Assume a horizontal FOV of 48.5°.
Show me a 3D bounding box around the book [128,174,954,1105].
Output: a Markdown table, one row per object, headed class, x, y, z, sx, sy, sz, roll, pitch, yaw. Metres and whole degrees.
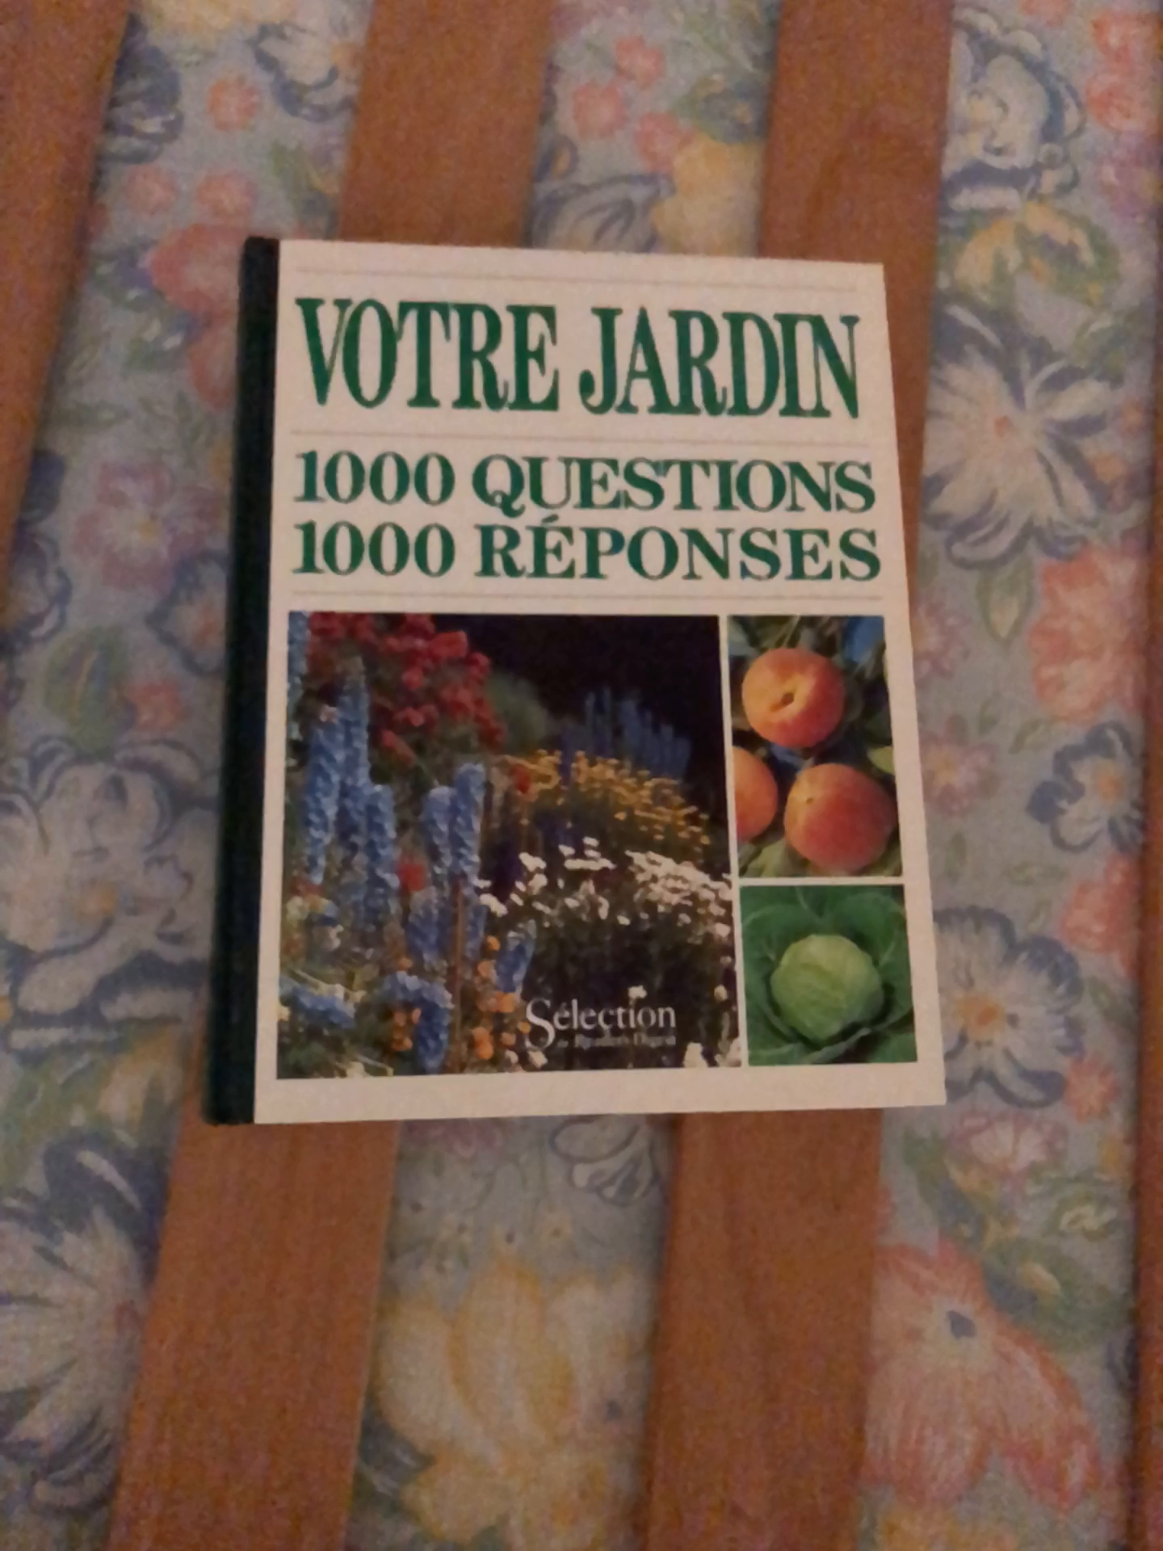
| class | x | y | z | sx | sy | sz | roll | pitch | yaw |
| --- | --- | --- | --- | --- | --- | --- | --- | --- | --- |
| book | -0.011 | -0.042 | 0.394 | 0.220 | 0.050 | 0.270 | 0 | 79 | -6 |
